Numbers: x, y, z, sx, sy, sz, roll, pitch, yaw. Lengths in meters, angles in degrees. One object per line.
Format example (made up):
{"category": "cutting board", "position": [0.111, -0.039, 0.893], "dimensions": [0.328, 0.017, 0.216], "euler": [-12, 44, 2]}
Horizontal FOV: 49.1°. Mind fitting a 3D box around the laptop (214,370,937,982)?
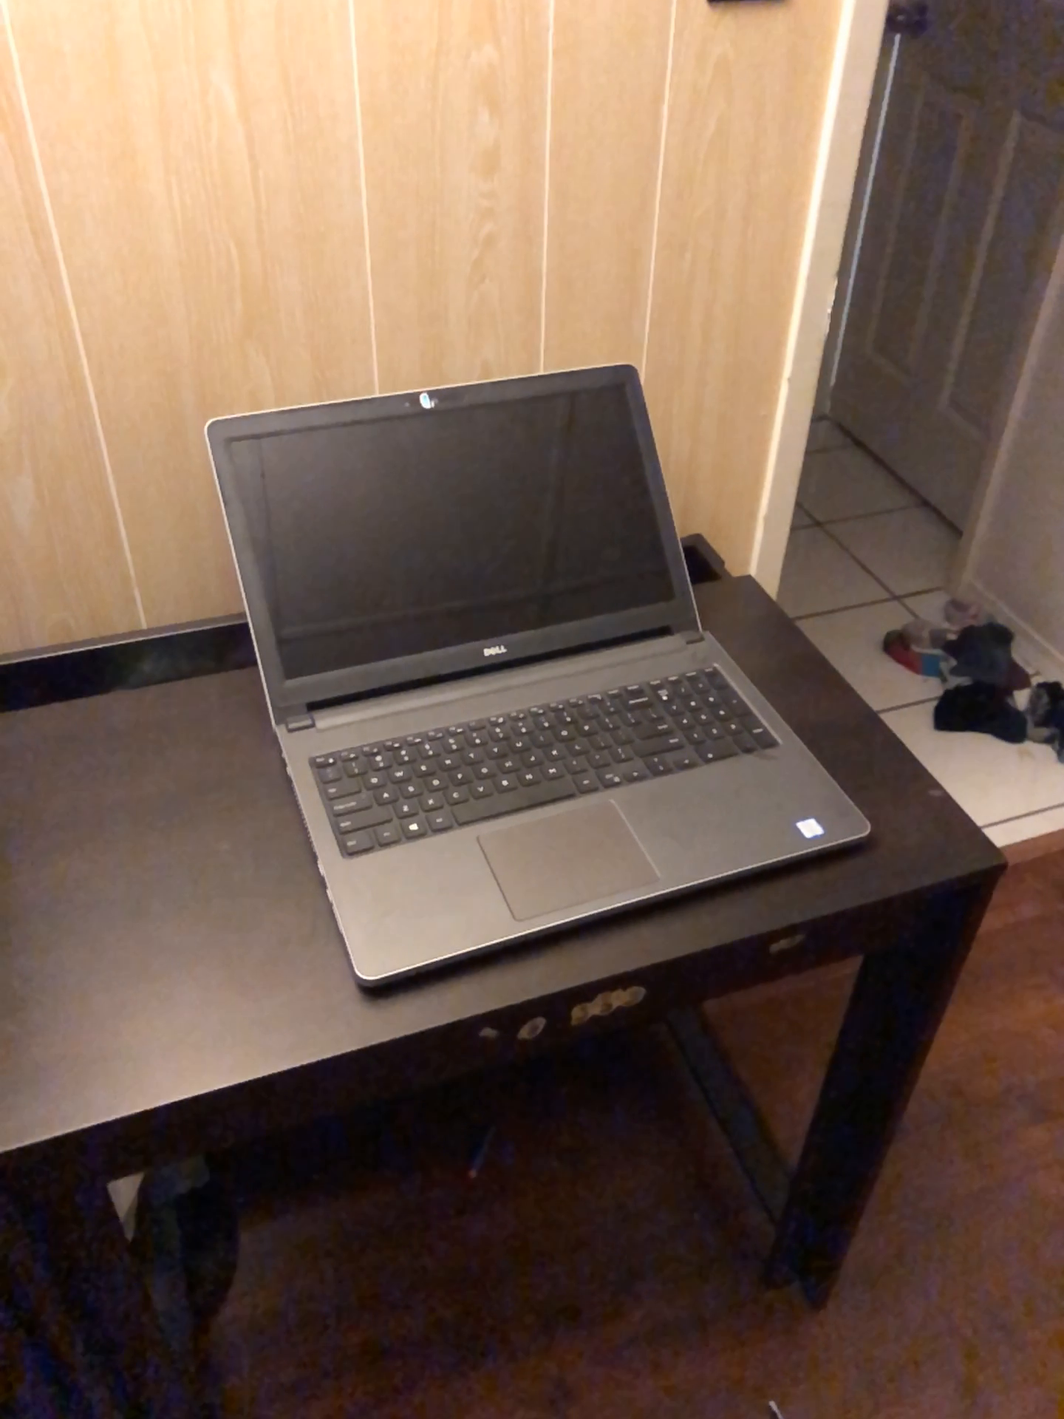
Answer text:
{"category": "laptop", "position": [-0.003, -0.066, 0.868], "dimensions": [0.367, 0.172, 0.429], "euler": [-13, 41, -17]}
